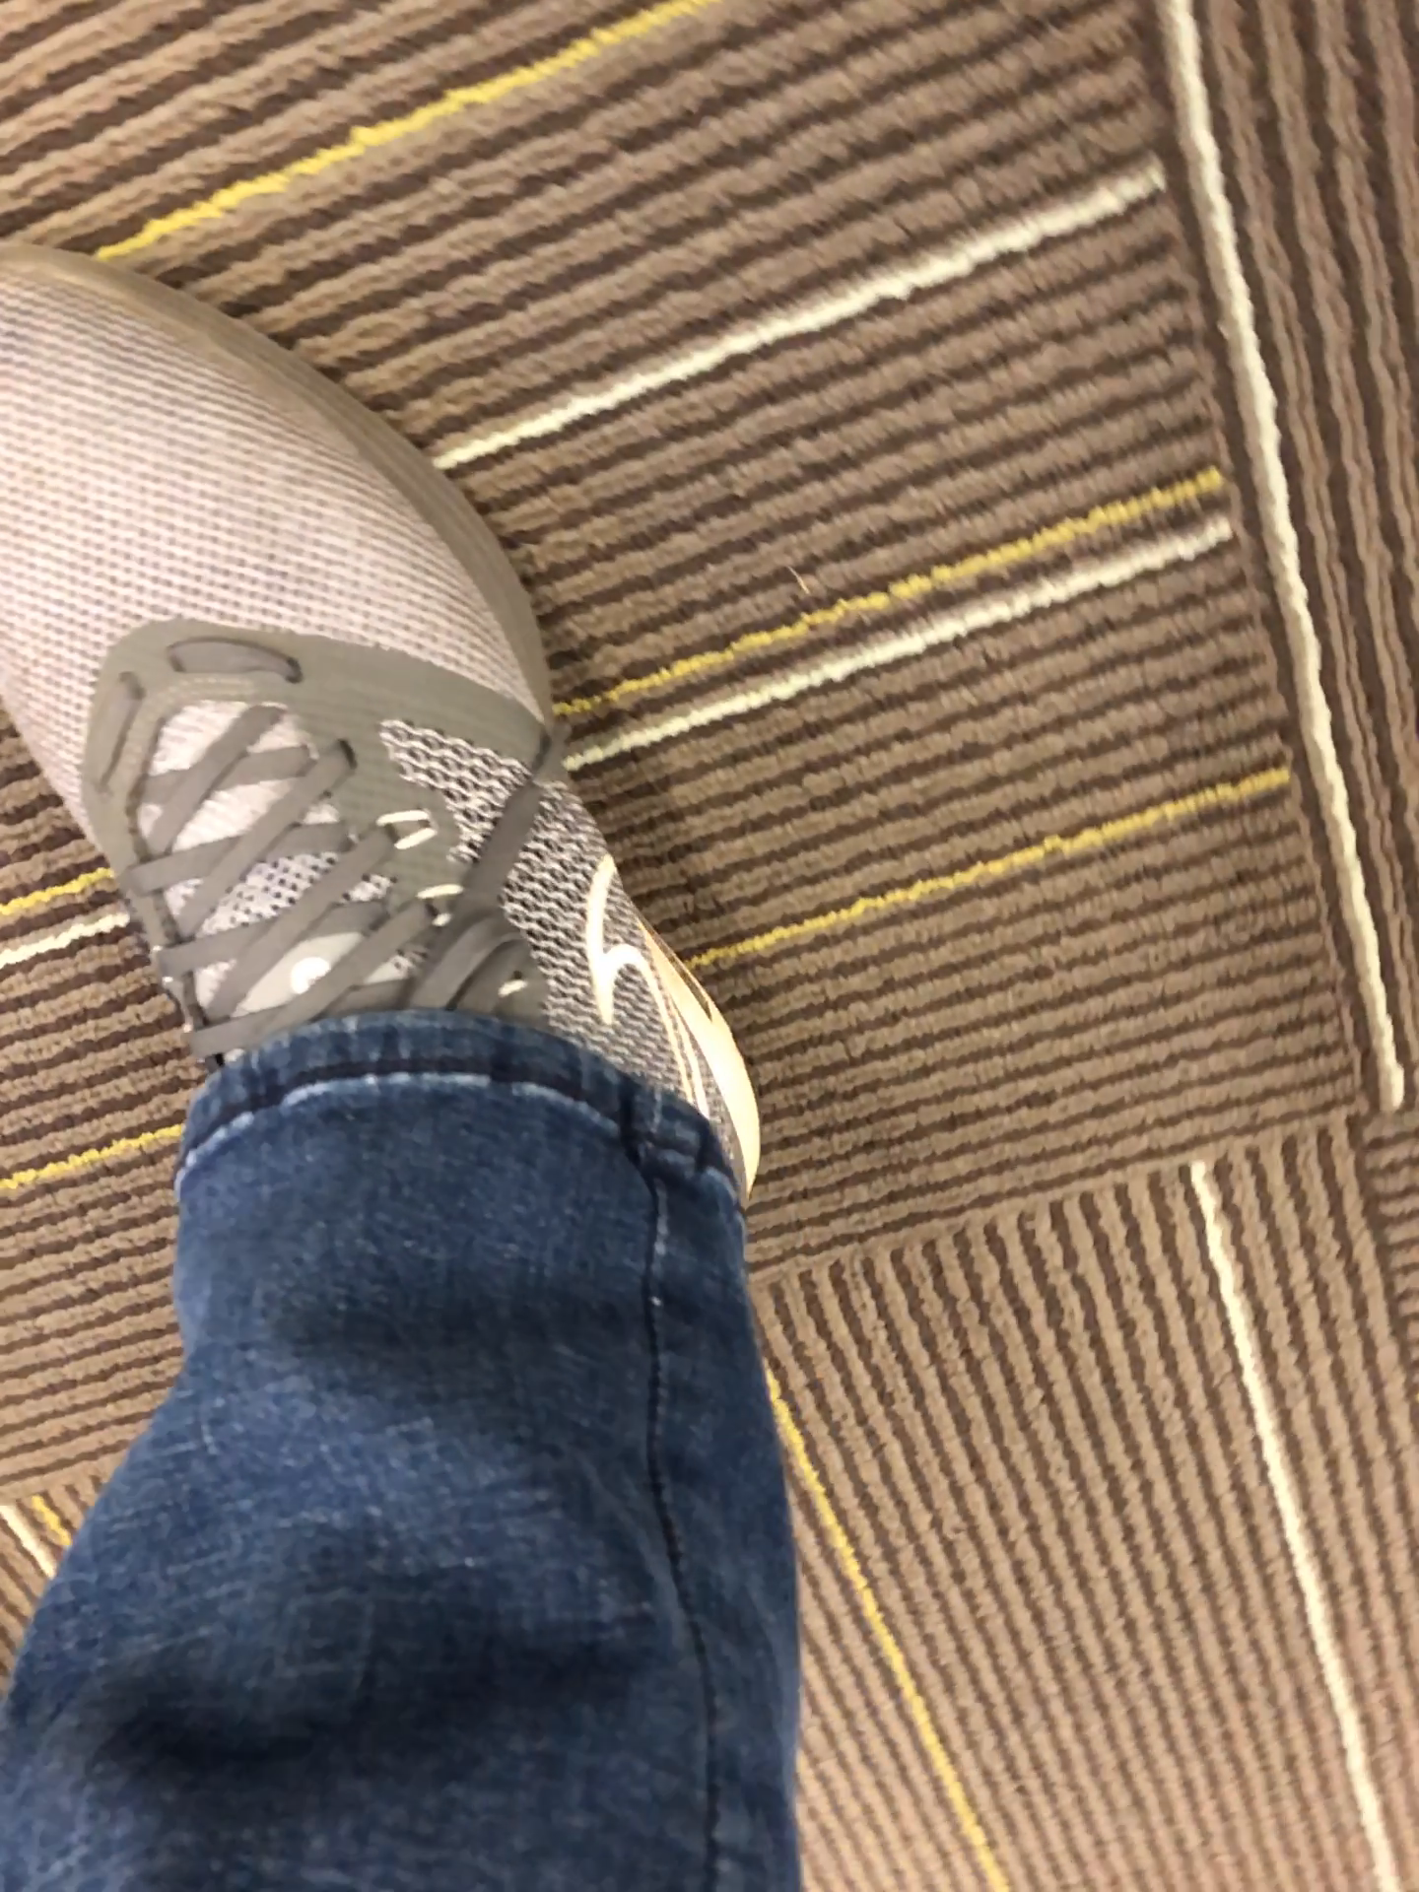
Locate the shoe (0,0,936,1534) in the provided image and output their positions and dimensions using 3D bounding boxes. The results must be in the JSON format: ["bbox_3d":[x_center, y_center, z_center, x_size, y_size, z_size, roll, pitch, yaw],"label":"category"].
[{"bbox_3d":[-0.074,-0.020,0.344,0.120,0.060,0.300,-27,106,15],"label":"shoe"}]
